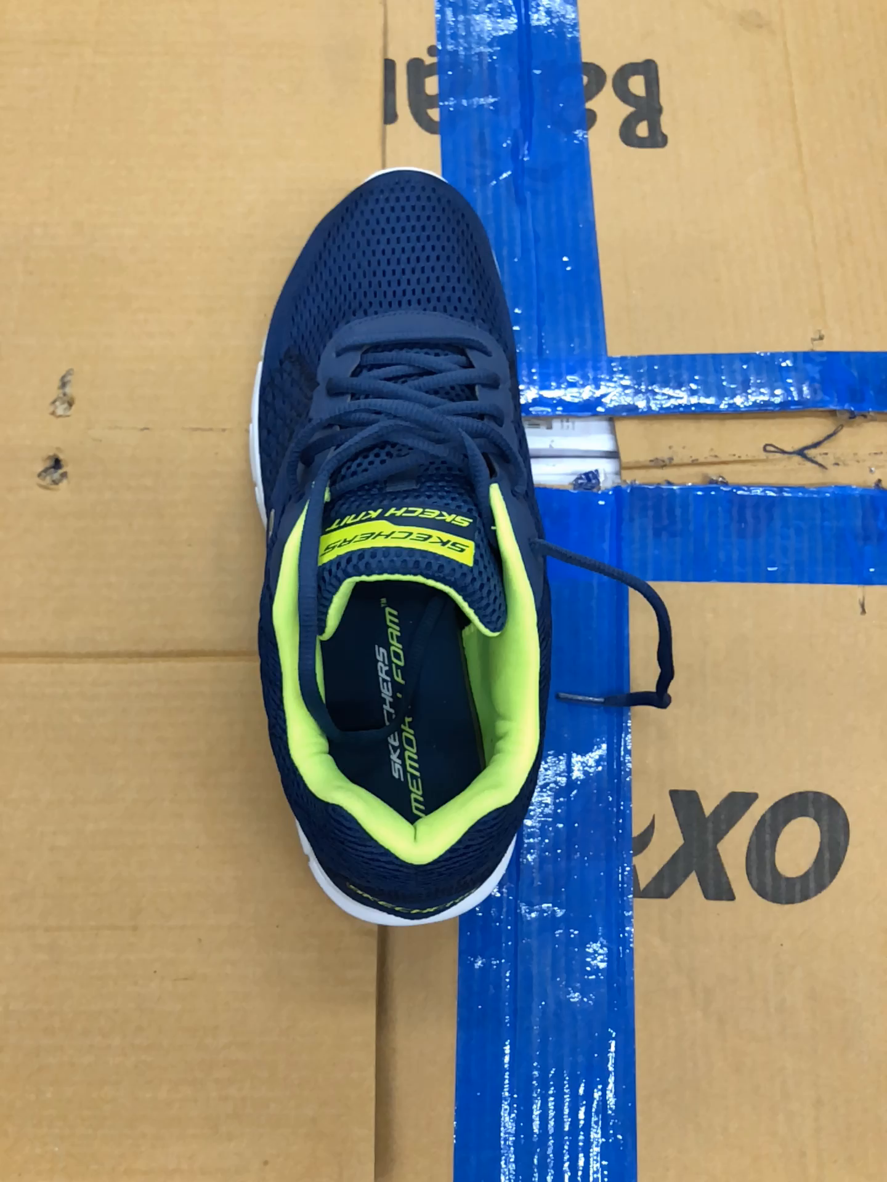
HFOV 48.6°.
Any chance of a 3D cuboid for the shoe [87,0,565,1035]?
[{"bbox_3d":[-0.035,-0.038,0.324,0.106,0.146,0.307,-2,78,-2],"label":"shoe"}]
